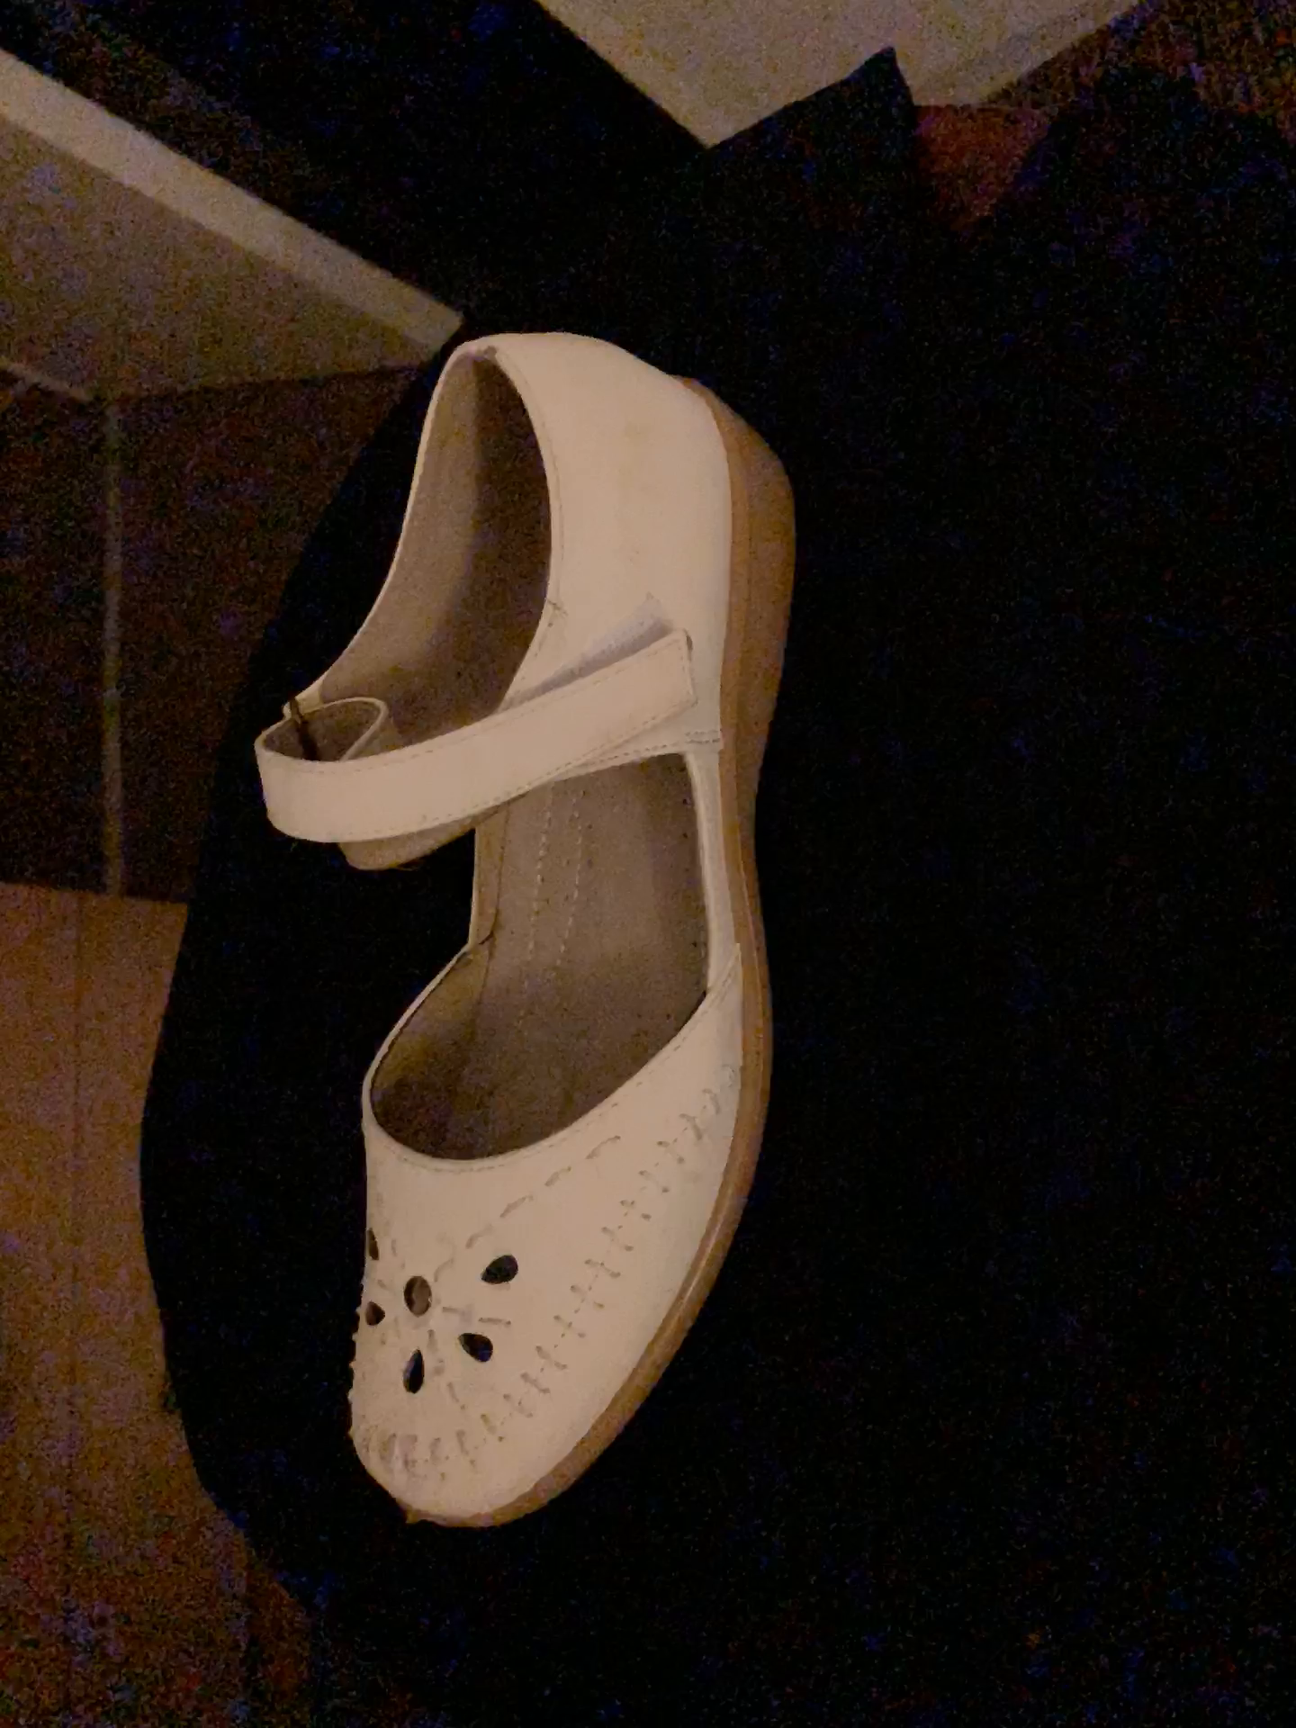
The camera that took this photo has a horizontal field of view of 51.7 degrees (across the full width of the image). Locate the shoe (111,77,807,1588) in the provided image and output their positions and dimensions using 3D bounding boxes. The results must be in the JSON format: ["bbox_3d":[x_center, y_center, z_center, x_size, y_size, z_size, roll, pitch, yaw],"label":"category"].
[{"bbox_3d":[-0.036,-0.007,0.304,0.098,0.099,0.270,-6,78,40],"label":"shoe"}]
